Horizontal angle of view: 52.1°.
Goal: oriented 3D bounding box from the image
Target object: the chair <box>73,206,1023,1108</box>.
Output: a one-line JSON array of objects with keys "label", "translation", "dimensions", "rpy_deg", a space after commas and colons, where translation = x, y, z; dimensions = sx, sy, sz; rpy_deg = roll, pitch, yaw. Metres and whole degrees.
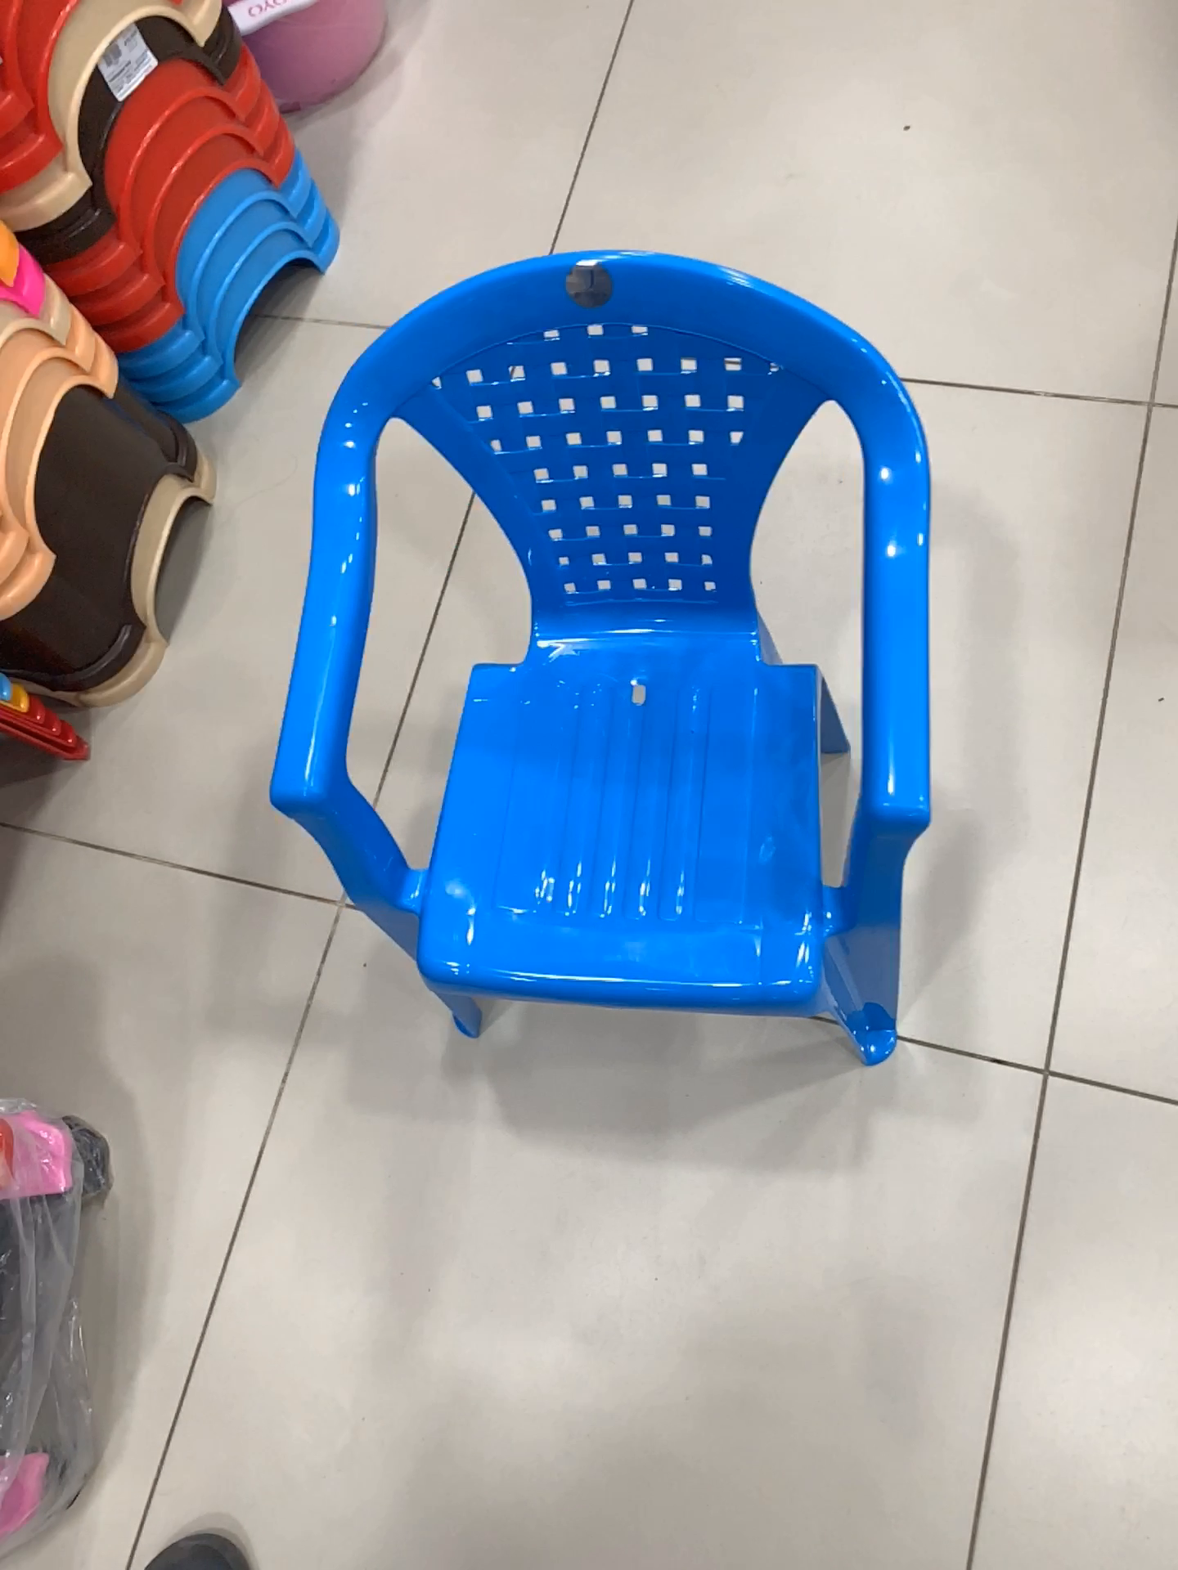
[{"label": "chair", "translation": [0.035, -0.016, 0.739], "dimensions": [0.370, 0.499, 0.340], "rpy_deg": [3, 71, 13]}]
